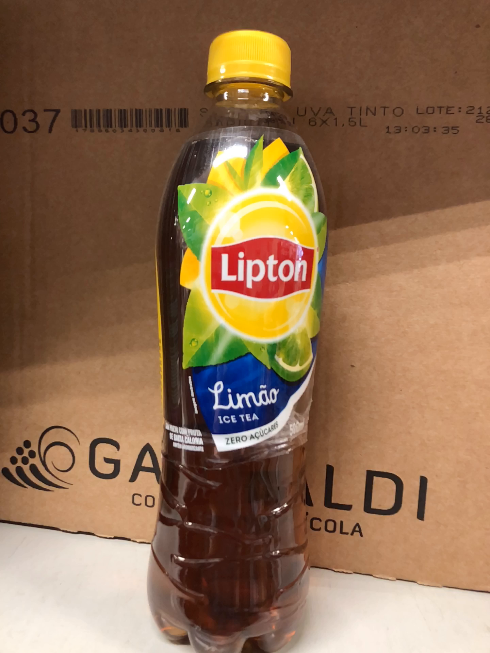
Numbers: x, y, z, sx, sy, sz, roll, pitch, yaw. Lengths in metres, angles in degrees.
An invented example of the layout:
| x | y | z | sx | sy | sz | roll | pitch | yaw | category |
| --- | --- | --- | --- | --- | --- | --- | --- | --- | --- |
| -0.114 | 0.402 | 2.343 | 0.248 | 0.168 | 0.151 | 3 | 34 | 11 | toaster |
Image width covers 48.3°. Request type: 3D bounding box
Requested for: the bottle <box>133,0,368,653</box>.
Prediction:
| x | y | z | sx | sy | sz | roll | pitch | yaw | category |
| --- | --- | --- | --- | --- | --- | --- | --- | --- | --- |
| -0.005 | 0.007 | 0.208 | 0.070 | 0.219 | 0.060 | 0 | 8 | -14 | bottle |
